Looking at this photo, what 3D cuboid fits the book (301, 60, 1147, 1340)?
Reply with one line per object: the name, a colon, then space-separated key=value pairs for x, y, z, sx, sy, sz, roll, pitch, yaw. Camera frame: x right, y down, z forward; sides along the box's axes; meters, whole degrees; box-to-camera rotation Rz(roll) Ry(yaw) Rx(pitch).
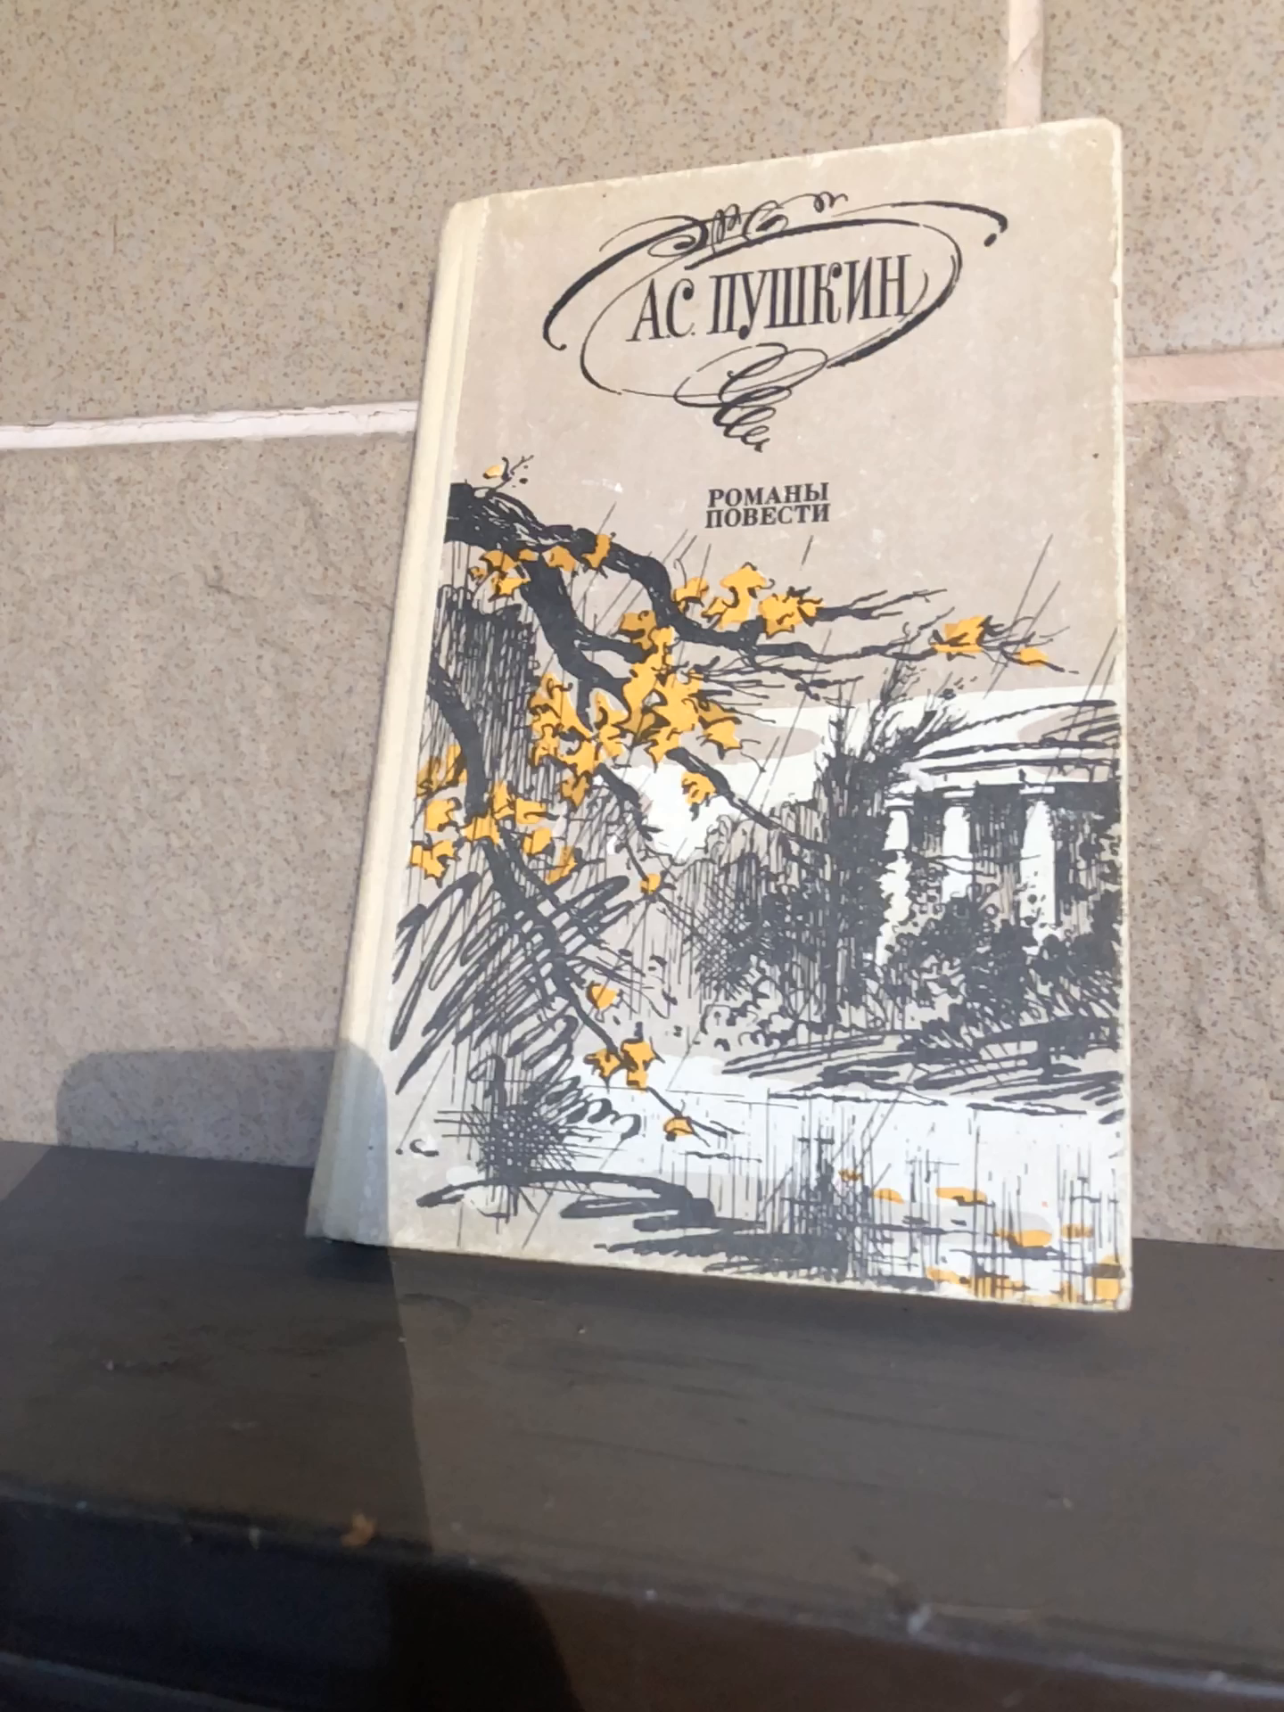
book: x=0.016 y=-0.030 z=0.241 sx=0.130 sy=0.199 sz=0.020 roll=1 pitch=-11 yaw=16
